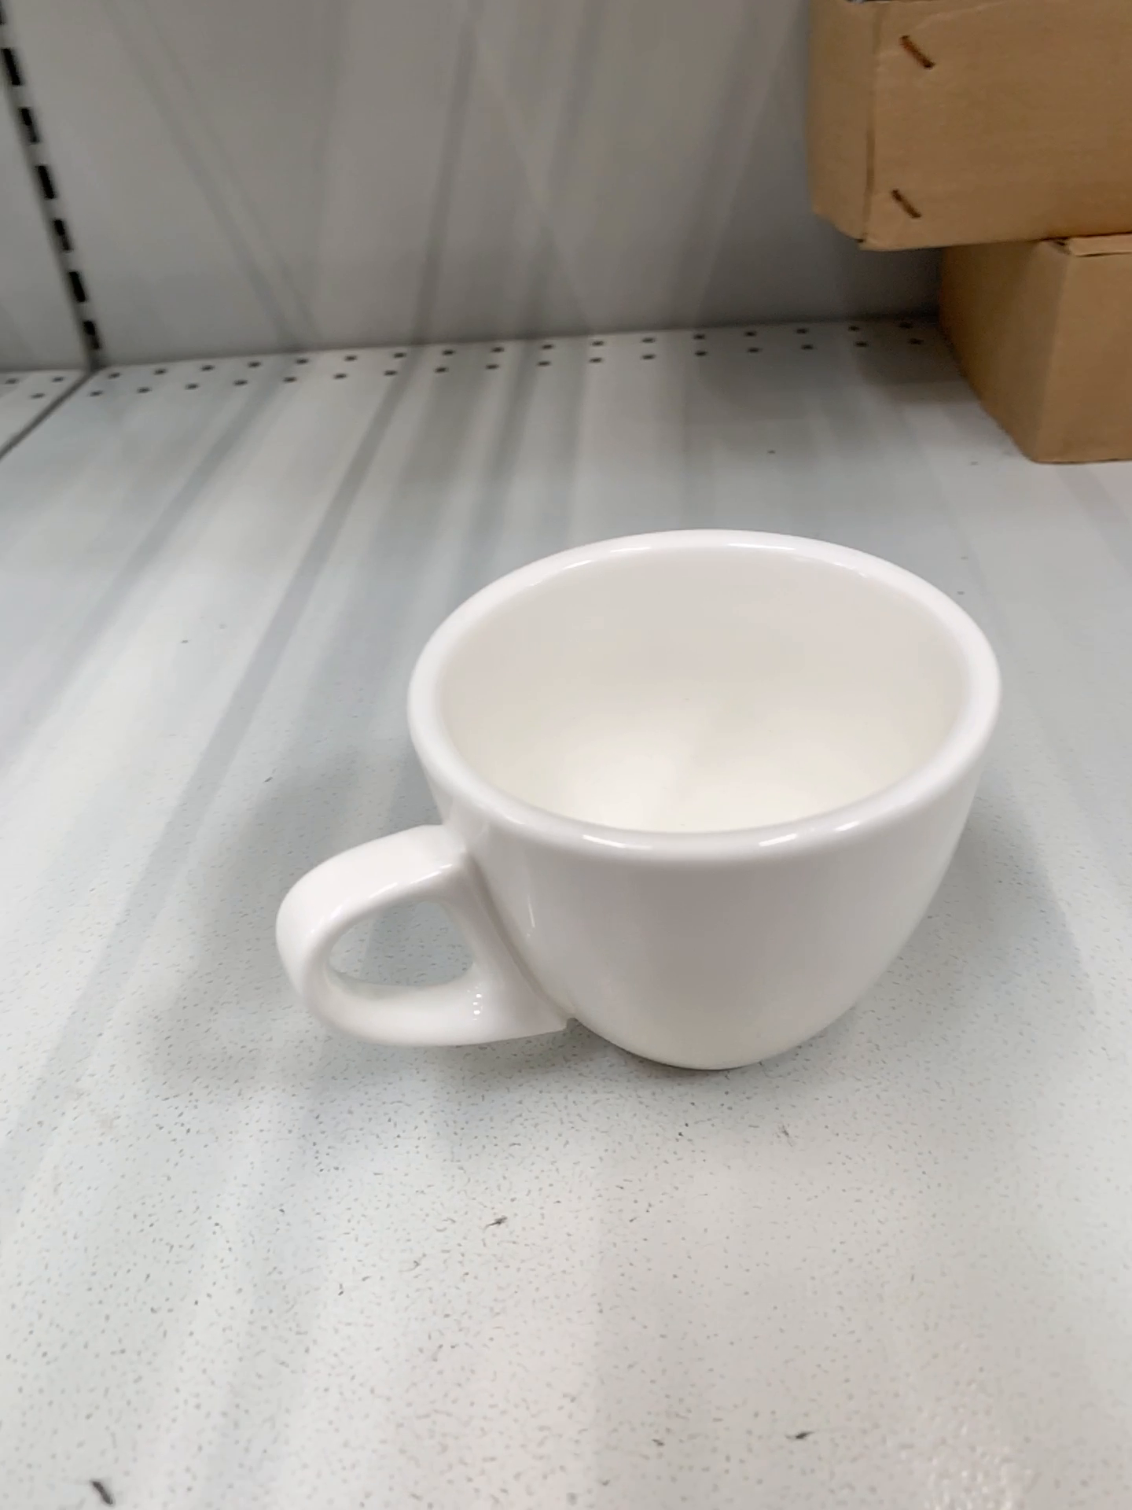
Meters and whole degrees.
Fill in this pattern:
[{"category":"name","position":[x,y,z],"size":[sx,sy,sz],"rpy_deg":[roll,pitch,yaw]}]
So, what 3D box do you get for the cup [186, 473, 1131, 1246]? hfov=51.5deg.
[{"category":"cup","position":[0.010,0.008,0.214],"size":[0.131,0.062,0.095],"rpy_deg":[-16,37,-14]}]
